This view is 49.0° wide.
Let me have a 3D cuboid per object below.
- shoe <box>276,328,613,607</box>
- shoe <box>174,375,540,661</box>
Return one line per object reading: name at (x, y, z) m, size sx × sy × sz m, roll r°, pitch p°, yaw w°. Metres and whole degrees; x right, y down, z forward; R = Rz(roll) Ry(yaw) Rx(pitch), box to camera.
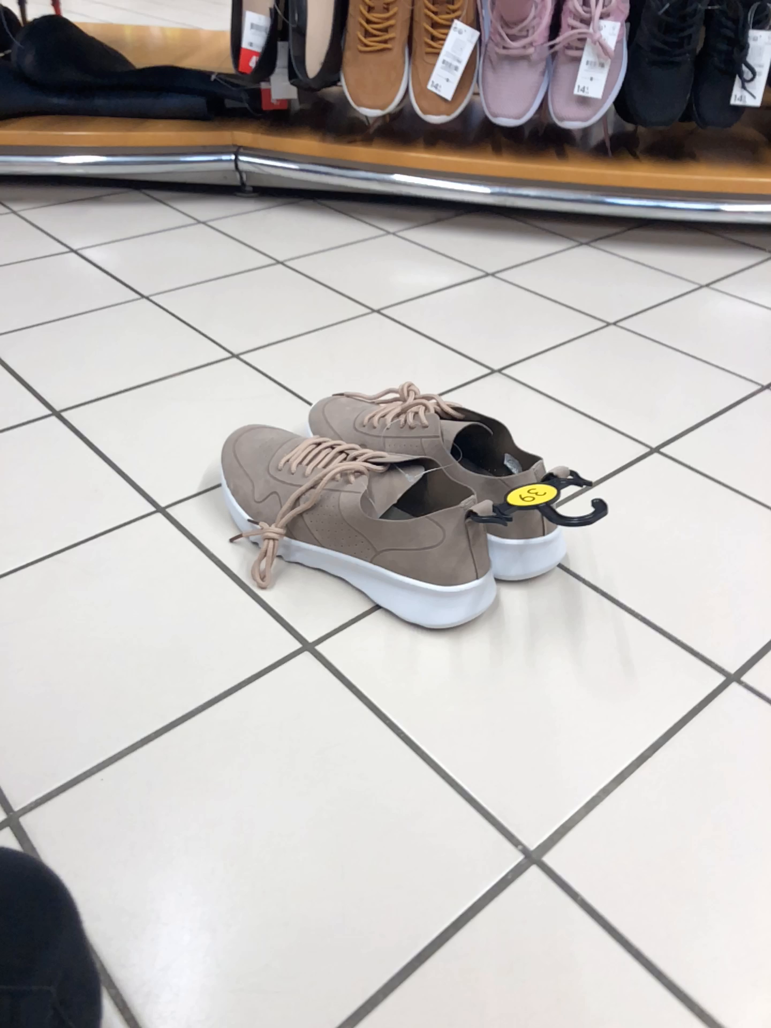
shoe at (0.036, -0.048, 0.678) m, size 0.254 × 0.099 × 0.101 m, roll 30°, pitch 45°, yaw 32°
shoe at (-0.028, -0.009, 0.627) m, size 0.258 × 0.079 × 0.101 m, roll 27°, pitch 43°, yaw 30°
